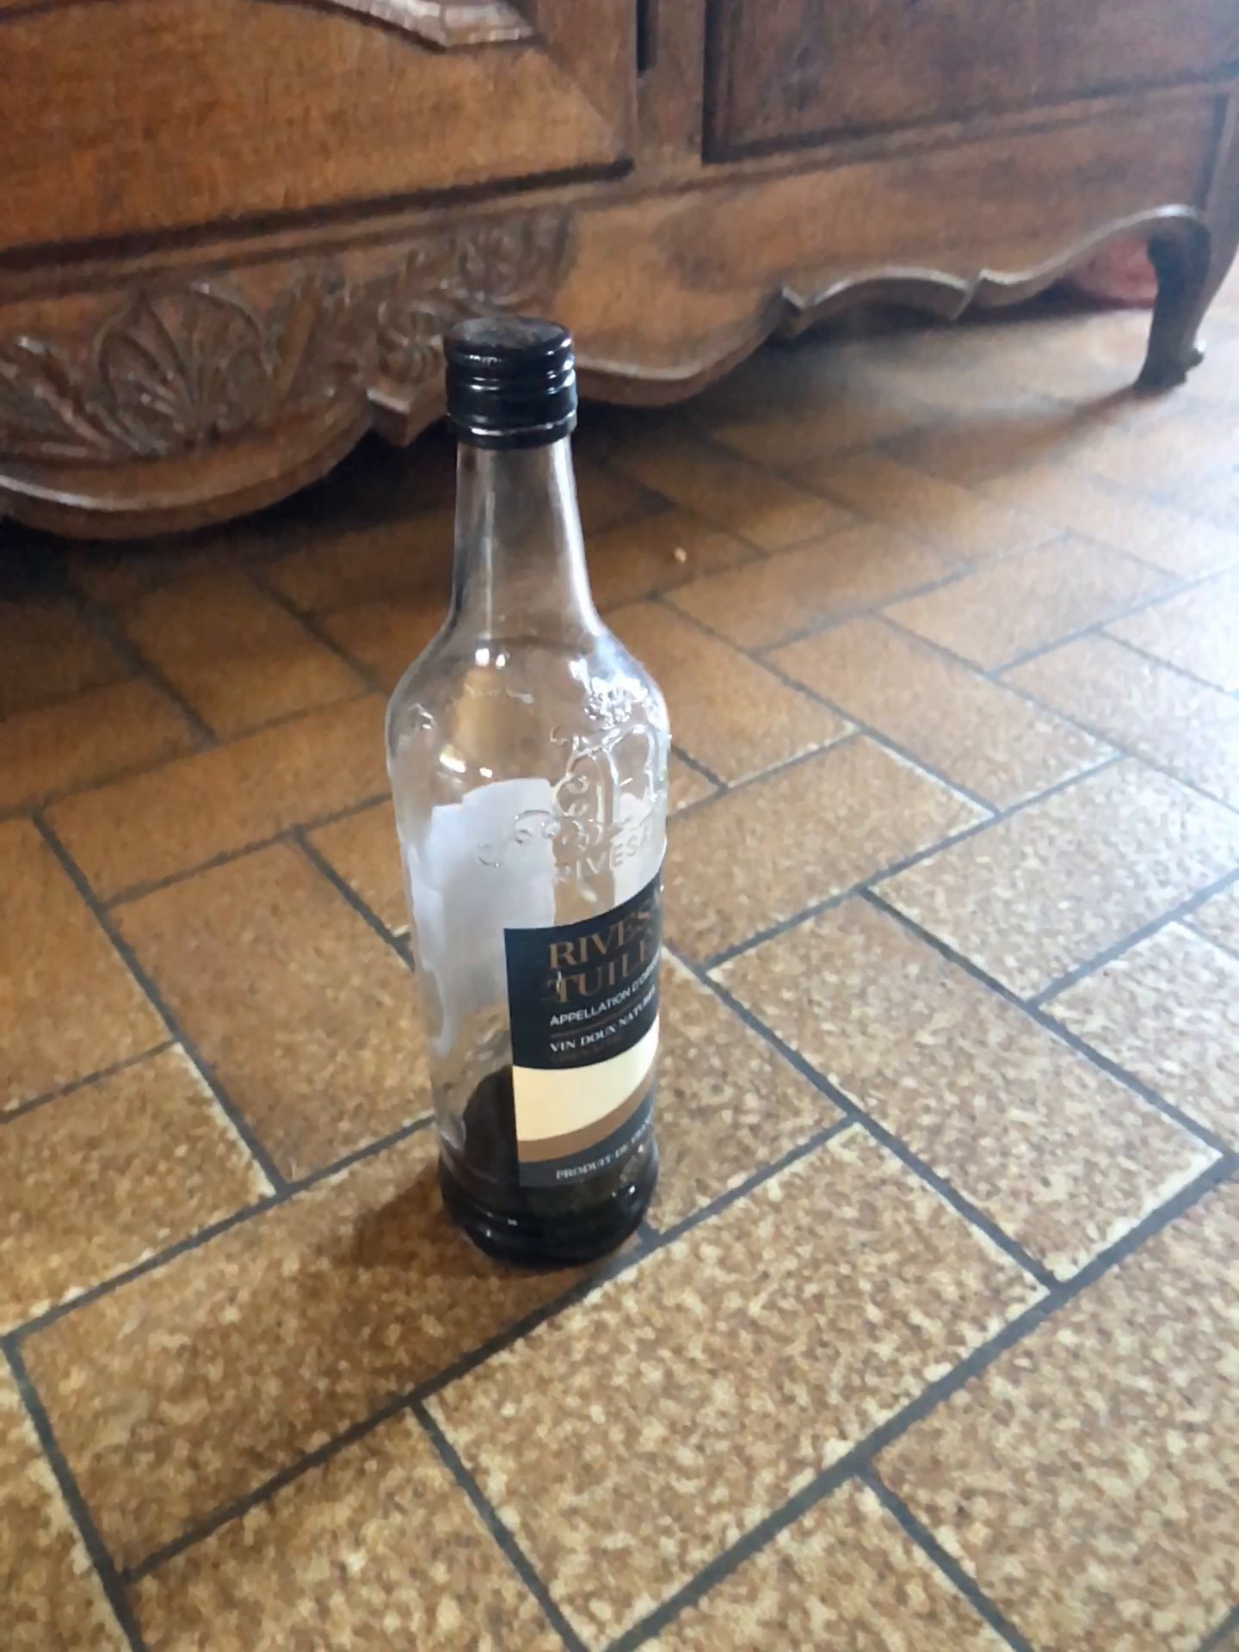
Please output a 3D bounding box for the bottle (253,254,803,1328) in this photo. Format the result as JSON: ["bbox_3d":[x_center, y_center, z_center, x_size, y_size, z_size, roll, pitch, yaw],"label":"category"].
[{"bbox_3d":[-0.020,0.004,0.404,0.090,0.298,0.091,0,36,0],"label":"bottle"}]
